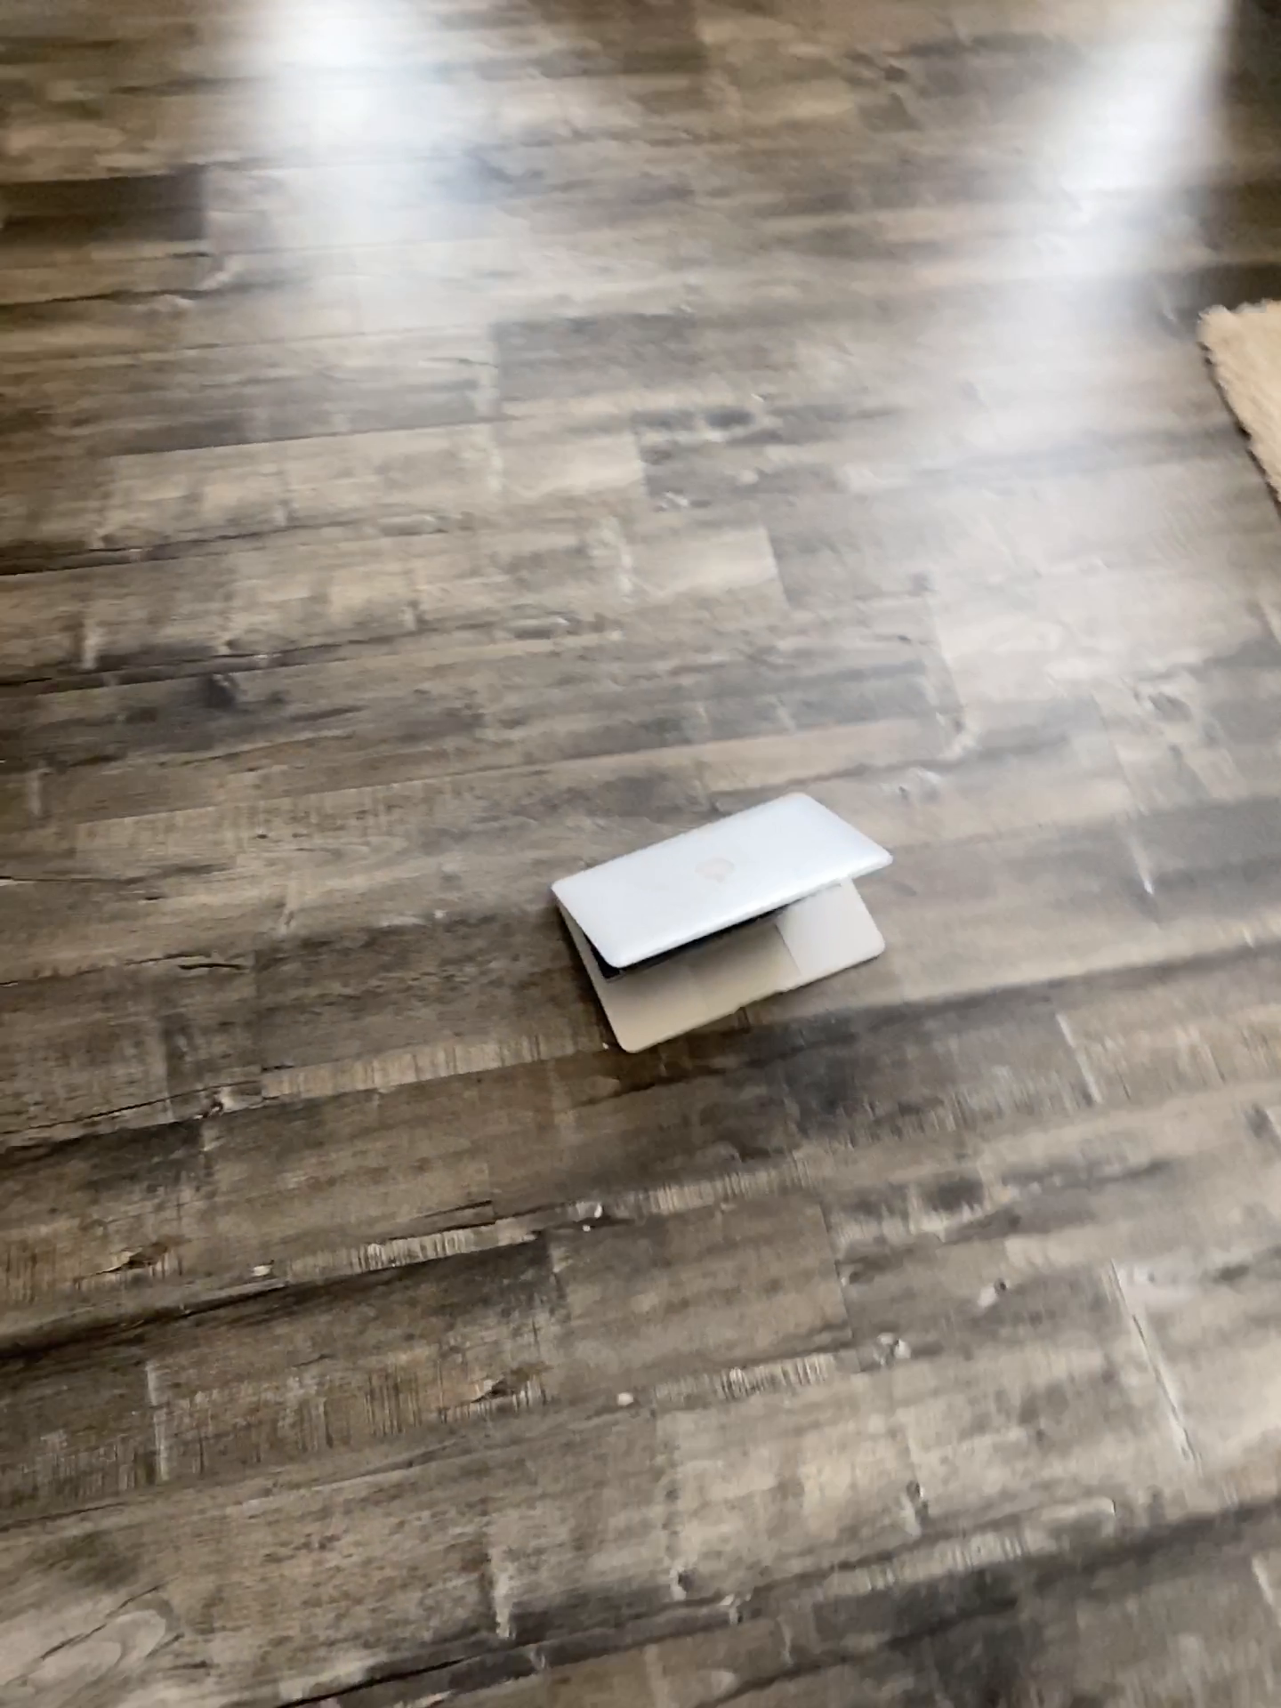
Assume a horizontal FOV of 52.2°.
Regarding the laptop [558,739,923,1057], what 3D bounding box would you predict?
[{"bbox_3d":[0.082,0.037,1.167,0.270,0.113,0.173,-19,65,-15],"label":"laptop"}]
